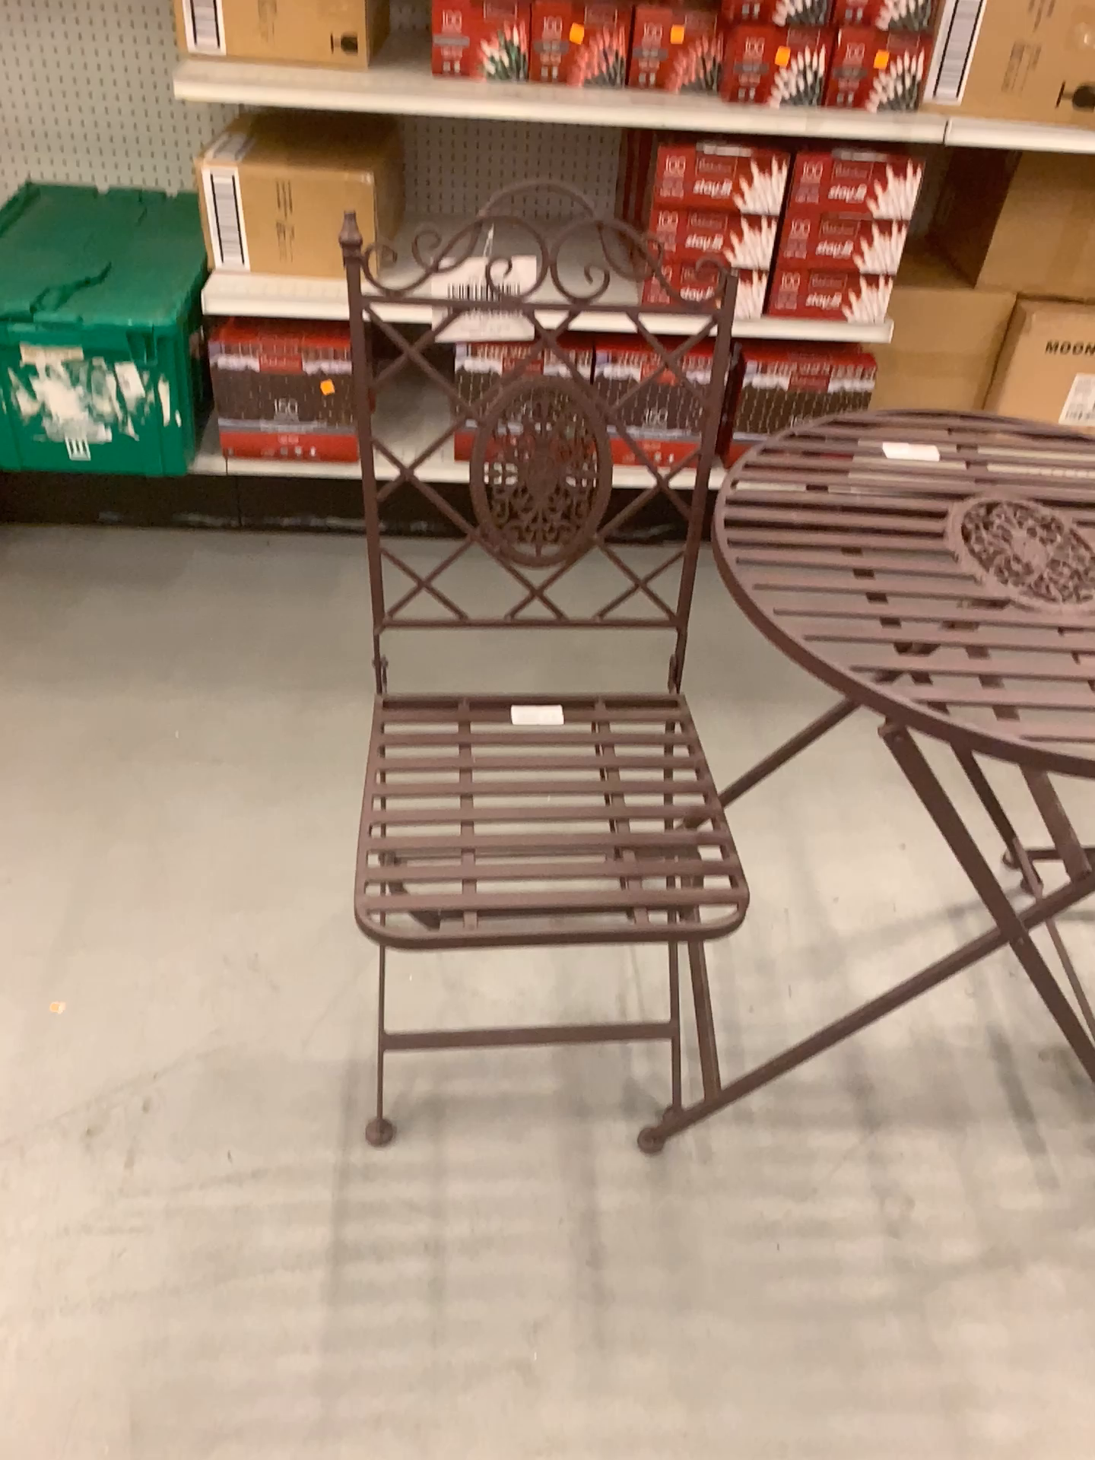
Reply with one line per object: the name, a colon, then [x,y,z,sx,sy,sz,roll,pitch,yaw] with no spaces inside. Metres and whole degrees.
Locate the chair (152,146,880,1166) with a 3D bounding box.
chair: [-0.067,-0.047,1.128,0.422,0.839,0.566,-2,43,-7]
